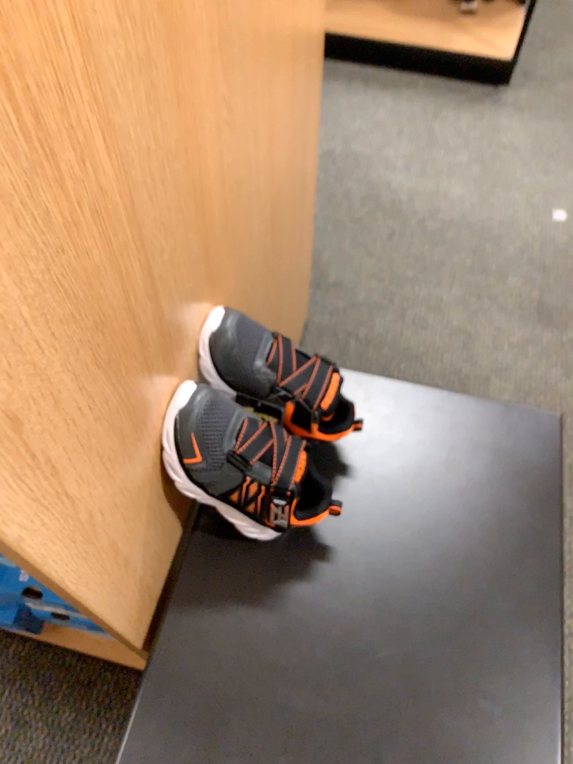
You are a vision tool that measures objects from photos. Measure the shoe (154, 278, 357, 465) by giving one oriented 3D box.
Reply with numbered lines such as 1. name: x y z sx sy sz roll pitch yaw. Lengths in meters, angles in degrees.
1. shoe: -0.023 -0.001 0.604 0.100 0.180 0.090 -7 50 36

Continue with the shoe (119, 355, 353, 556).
1. shoe: -0.036 0.072 0.533 0.100 0.180 0.090 -7 50 36
